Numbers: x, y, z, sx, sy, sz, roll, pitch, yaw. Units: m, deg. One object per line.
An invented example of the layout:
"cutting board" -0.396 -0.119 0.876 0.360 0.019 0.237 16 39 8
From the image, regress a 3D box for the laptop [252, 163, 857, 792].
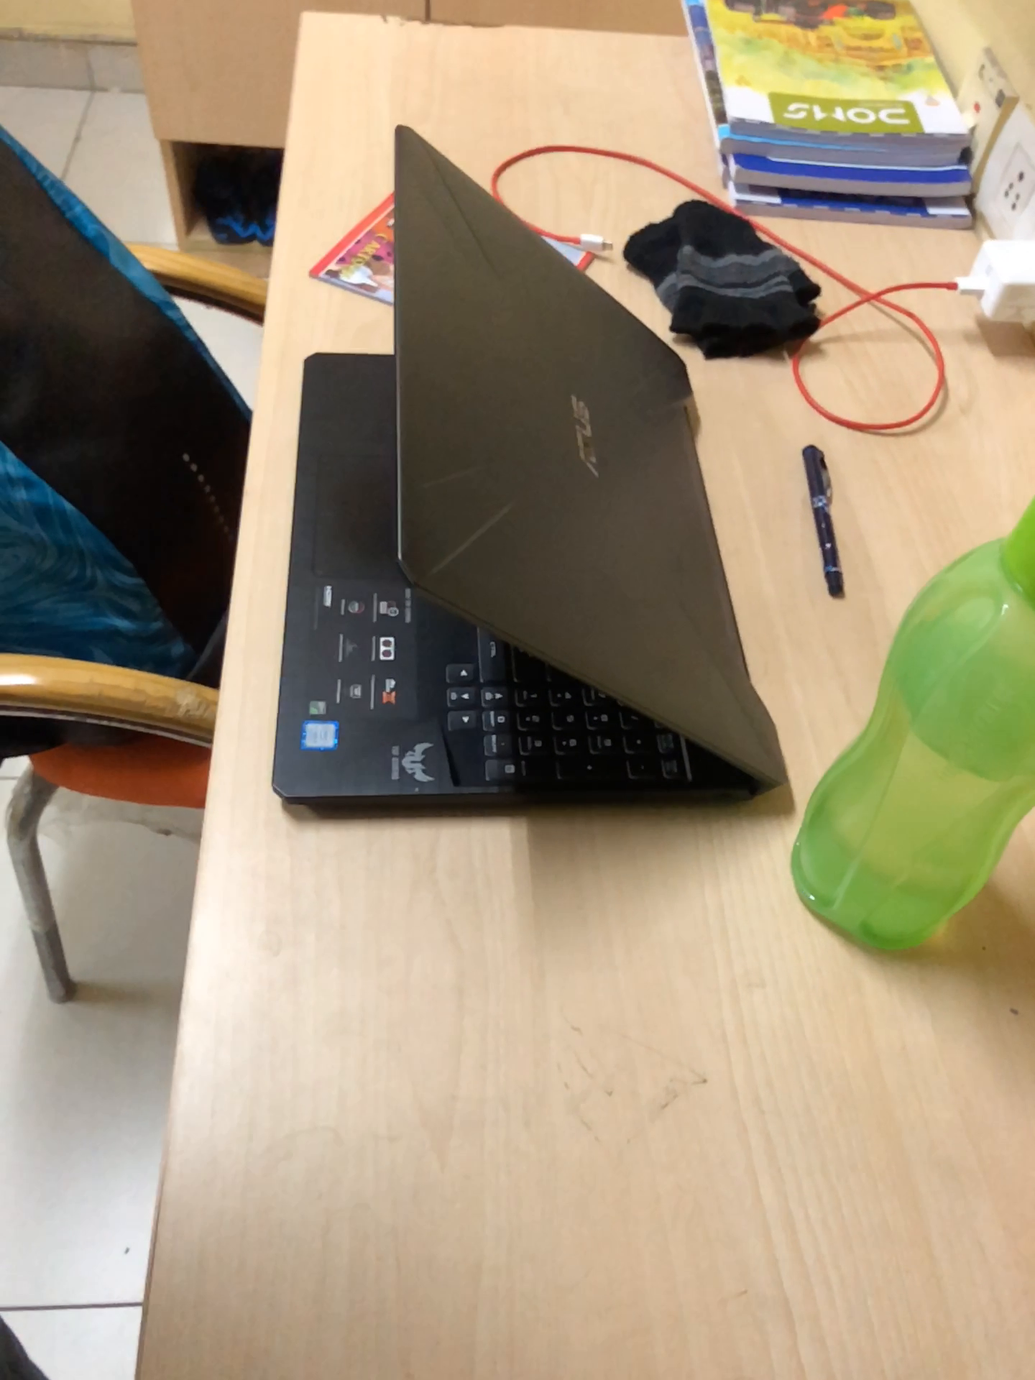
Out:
"laptop" 0.002 -0.132 0.628 0.248 0.147 0.340 -1 52 -4
